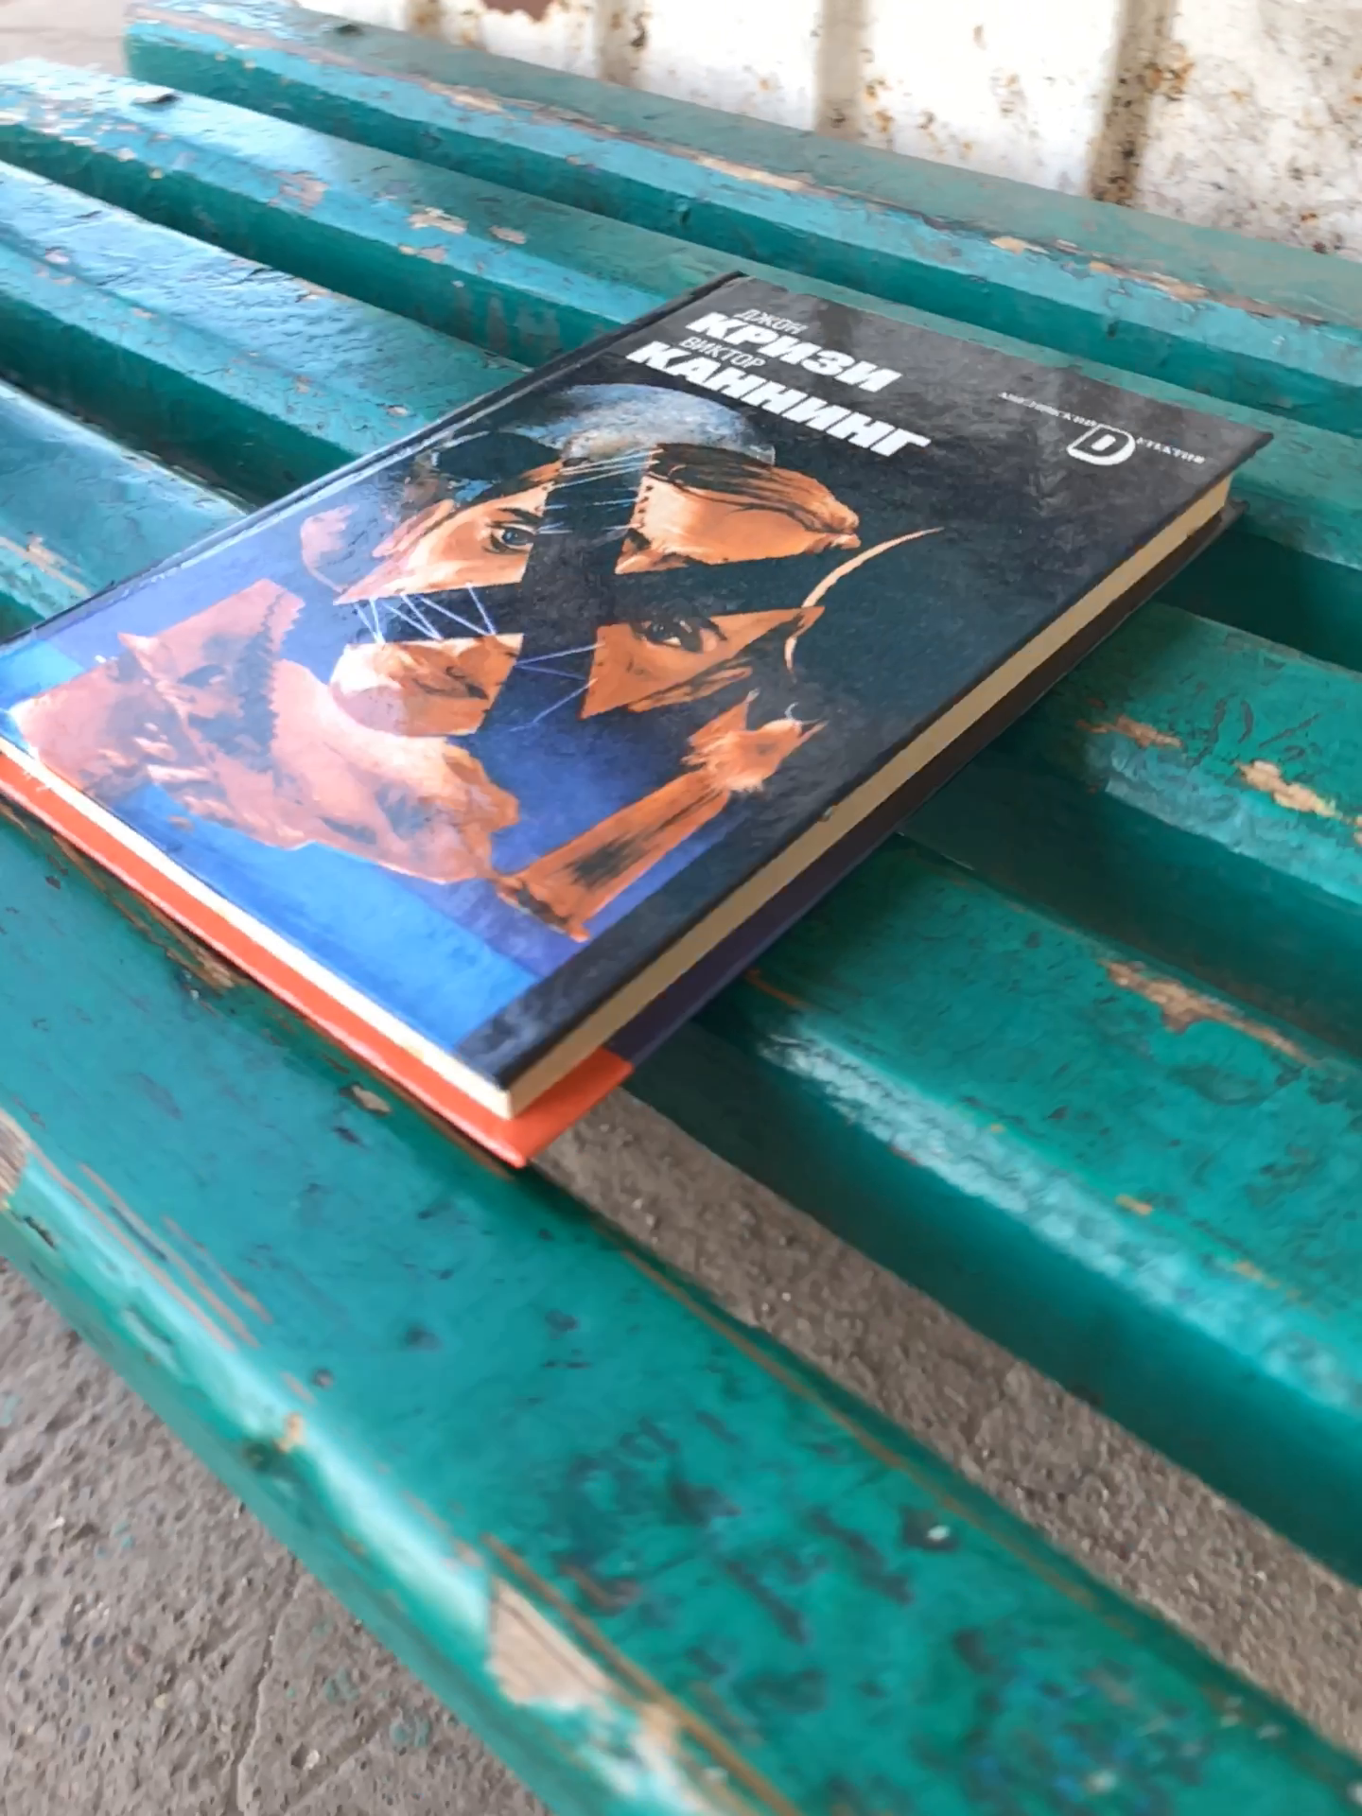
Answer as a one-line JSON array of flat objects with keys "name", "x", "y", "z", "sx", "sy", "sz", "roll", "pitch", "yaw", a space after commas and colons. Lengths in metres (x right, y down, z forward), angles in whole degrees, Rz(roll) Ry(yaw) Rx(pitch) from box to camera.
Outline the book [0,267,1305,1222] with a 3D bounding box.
[{"name": "book", "x": -0.002, "y": -0.055, "z": 0.270, "sx": 0.135, "sy": 0.020, "sz": 0.212, "roll": 31, "pitch": 53, "yaw": 29}]
